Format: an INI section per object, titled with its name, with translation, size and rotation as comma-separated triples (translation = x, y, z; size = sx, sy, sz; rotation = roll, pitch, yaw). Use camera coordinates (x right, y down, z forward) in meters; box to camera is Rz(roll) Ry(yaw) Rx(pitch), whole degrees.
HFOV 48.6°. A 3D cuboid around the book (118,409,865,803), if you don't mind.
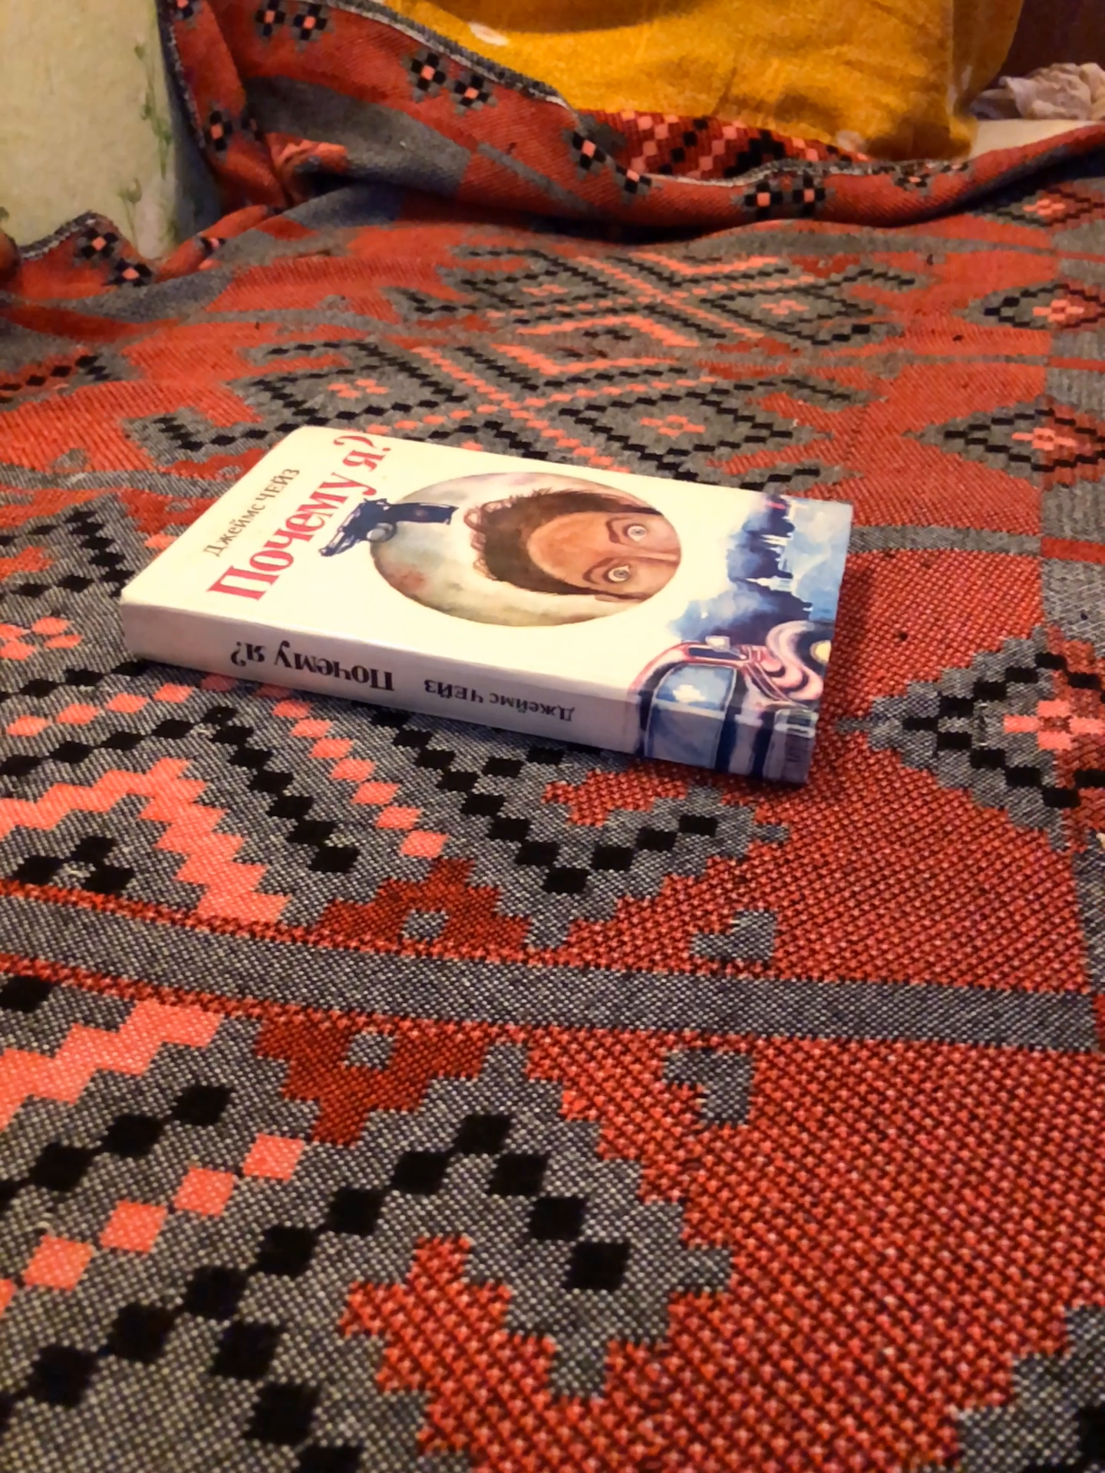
[book]
translation = -0.009, -0.051, 0.391
size = 0.204, 0.029, 0.134
rotation = 11, 38, 10
